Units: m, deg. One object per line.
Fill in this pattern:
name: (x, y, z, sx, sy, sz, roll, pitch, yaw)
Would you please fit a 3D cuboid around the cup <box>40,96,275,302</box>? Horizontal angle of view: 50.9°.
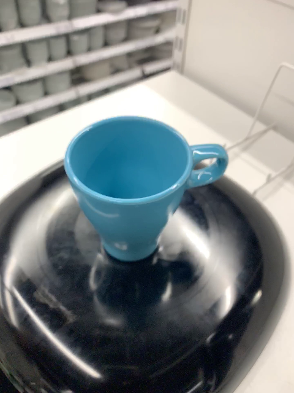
cup: (0.000, -0.002, 0.257, 0.140, 0.100, 0.100, -14, 51, -17)
